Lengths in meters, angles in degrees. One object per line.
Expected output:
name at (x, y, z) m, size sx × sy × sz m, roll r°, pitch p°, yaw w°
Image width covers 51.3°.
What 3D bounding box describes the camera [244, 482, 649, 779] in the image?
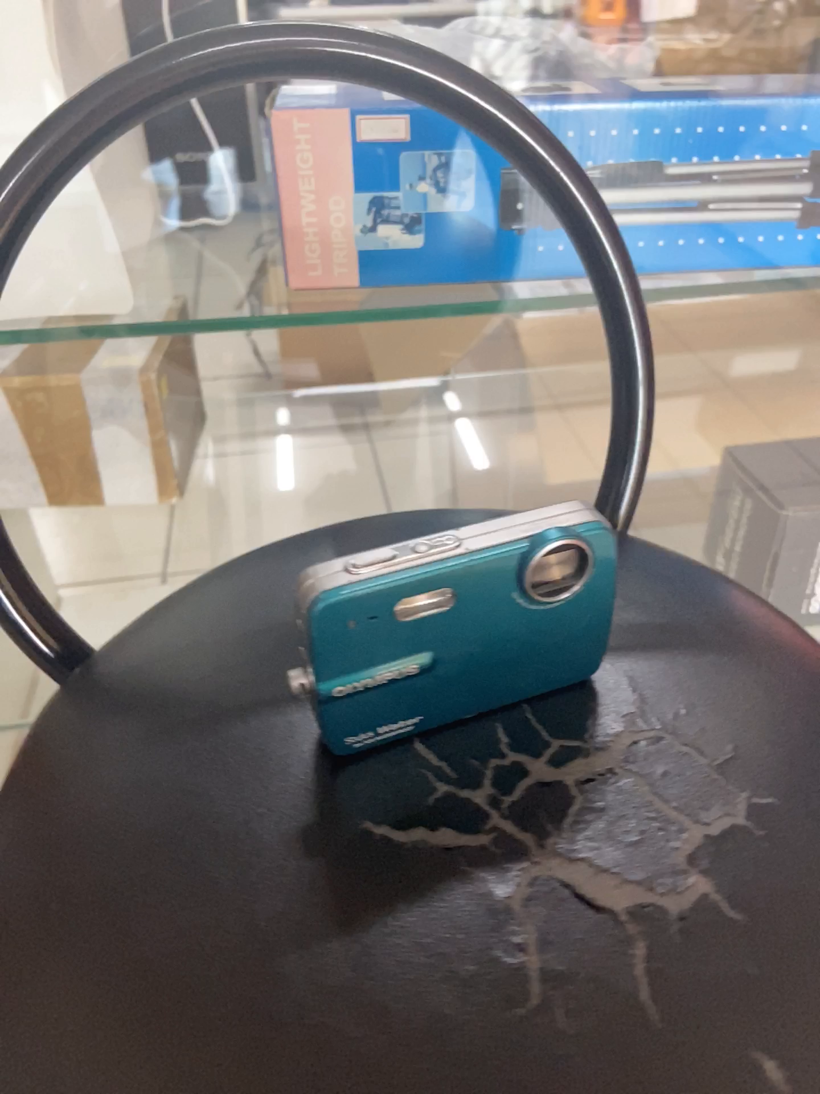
camera at (0.011, 0.021, 0.233) m, size 0.100 × 0.050 × 0.030 m, roll -13°, pitch 36°, yaw -15°
